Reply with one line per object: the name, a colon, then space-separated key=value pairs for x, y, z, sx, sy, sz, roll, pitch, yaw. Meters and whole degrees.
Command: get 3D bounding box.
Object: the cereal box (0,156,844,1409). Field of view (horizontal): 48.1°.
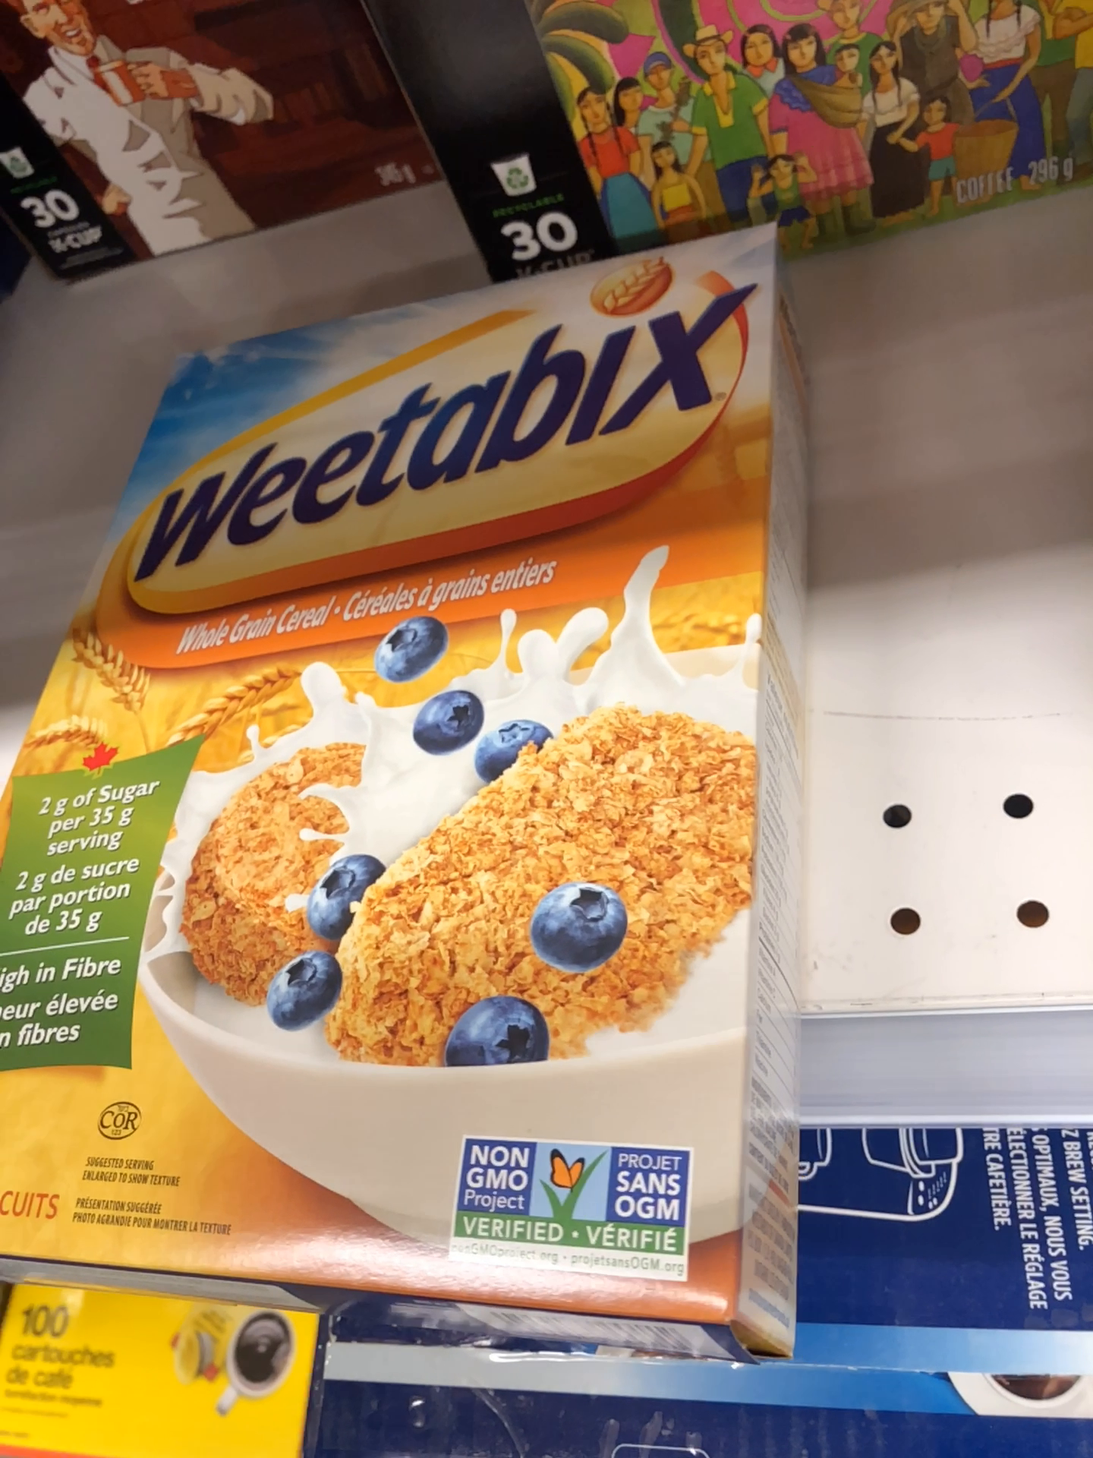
cereal box: x=-0.037 y=-0.011 z=0.304 sx=0.210 sy=0.050 sz=0.290 roll=-5 pitch=54 yaw=21
